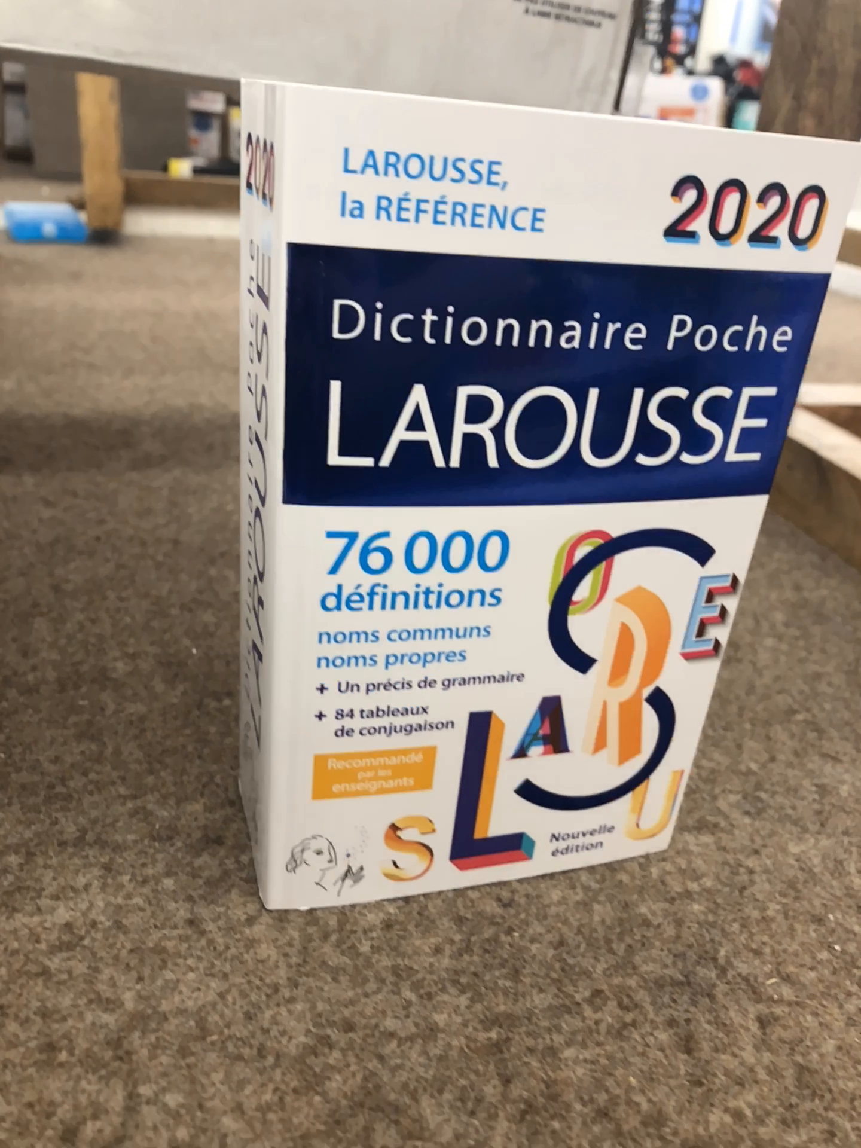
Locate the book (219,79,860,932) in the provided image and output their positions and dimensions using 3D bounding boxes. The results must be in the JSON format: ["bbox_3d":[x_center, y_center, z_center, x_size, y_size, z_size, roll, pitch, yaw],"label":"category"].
[{"bbox_3d":[0.011,-0.013,0.225,0.111,0.173,0.061,-3,27,-18],"label":"book"}]
